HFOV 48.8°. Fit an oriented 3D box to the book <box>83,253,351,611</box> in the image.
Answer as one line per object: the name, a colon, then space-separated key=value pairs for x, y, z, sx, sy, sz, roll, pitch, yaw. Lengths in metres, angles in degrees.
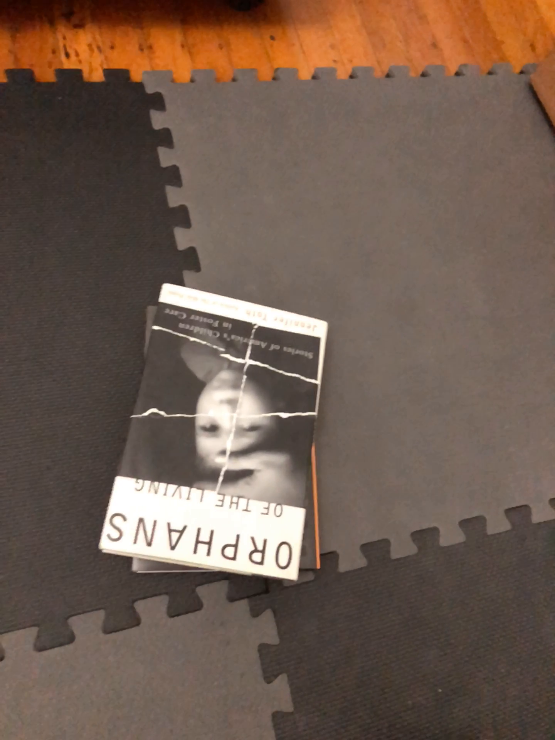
book: x=-0.039 y=0.045 z=0.526 sx=0.180 sy=0.030 sz=0.281 roll=12 pitch=67 yaw=-8

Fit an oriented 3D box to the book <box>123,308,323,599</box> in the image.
book: x=-0.049 y=0.067 z=0.547 sx=0.160 sy=0.030 sz=0.251 roll=2 pitch=68 yaw=-12
